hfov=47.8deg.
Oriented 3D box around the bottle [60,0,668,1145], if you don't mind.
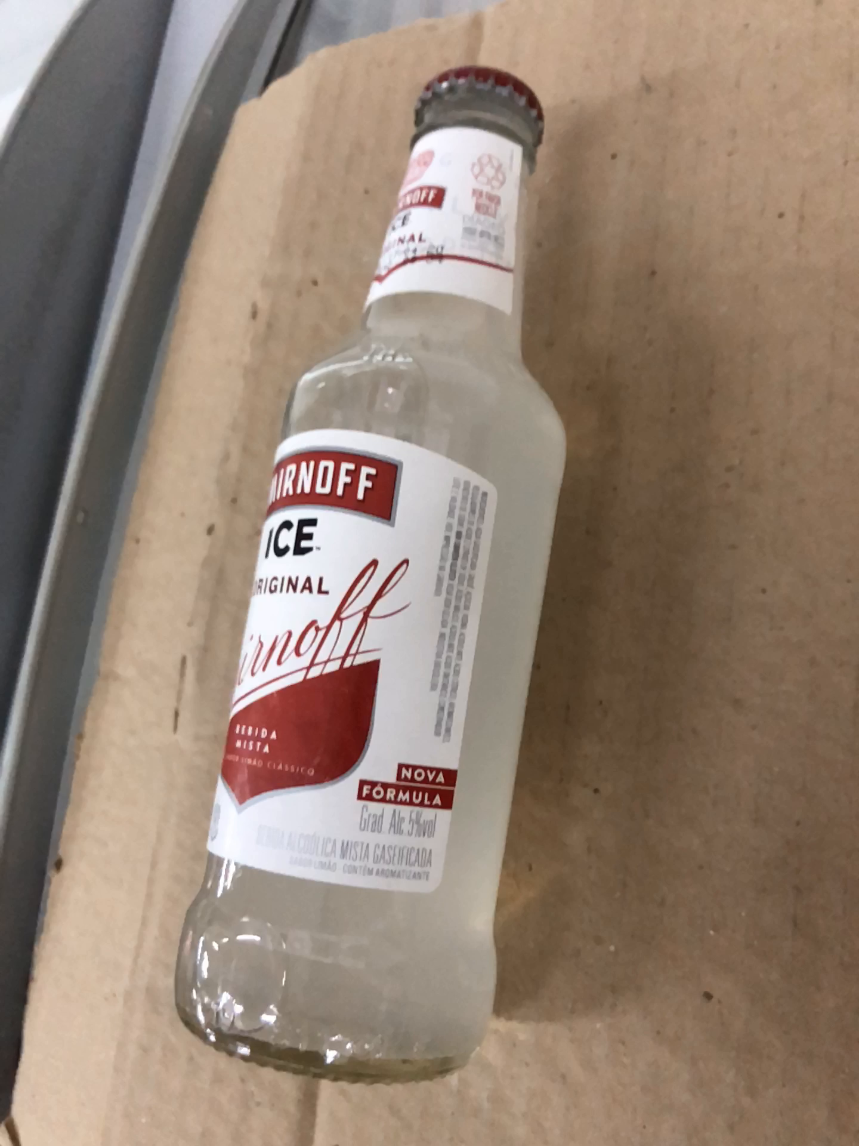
[{"bbox_3d":[-0.007,-0.013,0.186,0.070,0.050,0.210,1,78,35],"label":"bottle"}]
